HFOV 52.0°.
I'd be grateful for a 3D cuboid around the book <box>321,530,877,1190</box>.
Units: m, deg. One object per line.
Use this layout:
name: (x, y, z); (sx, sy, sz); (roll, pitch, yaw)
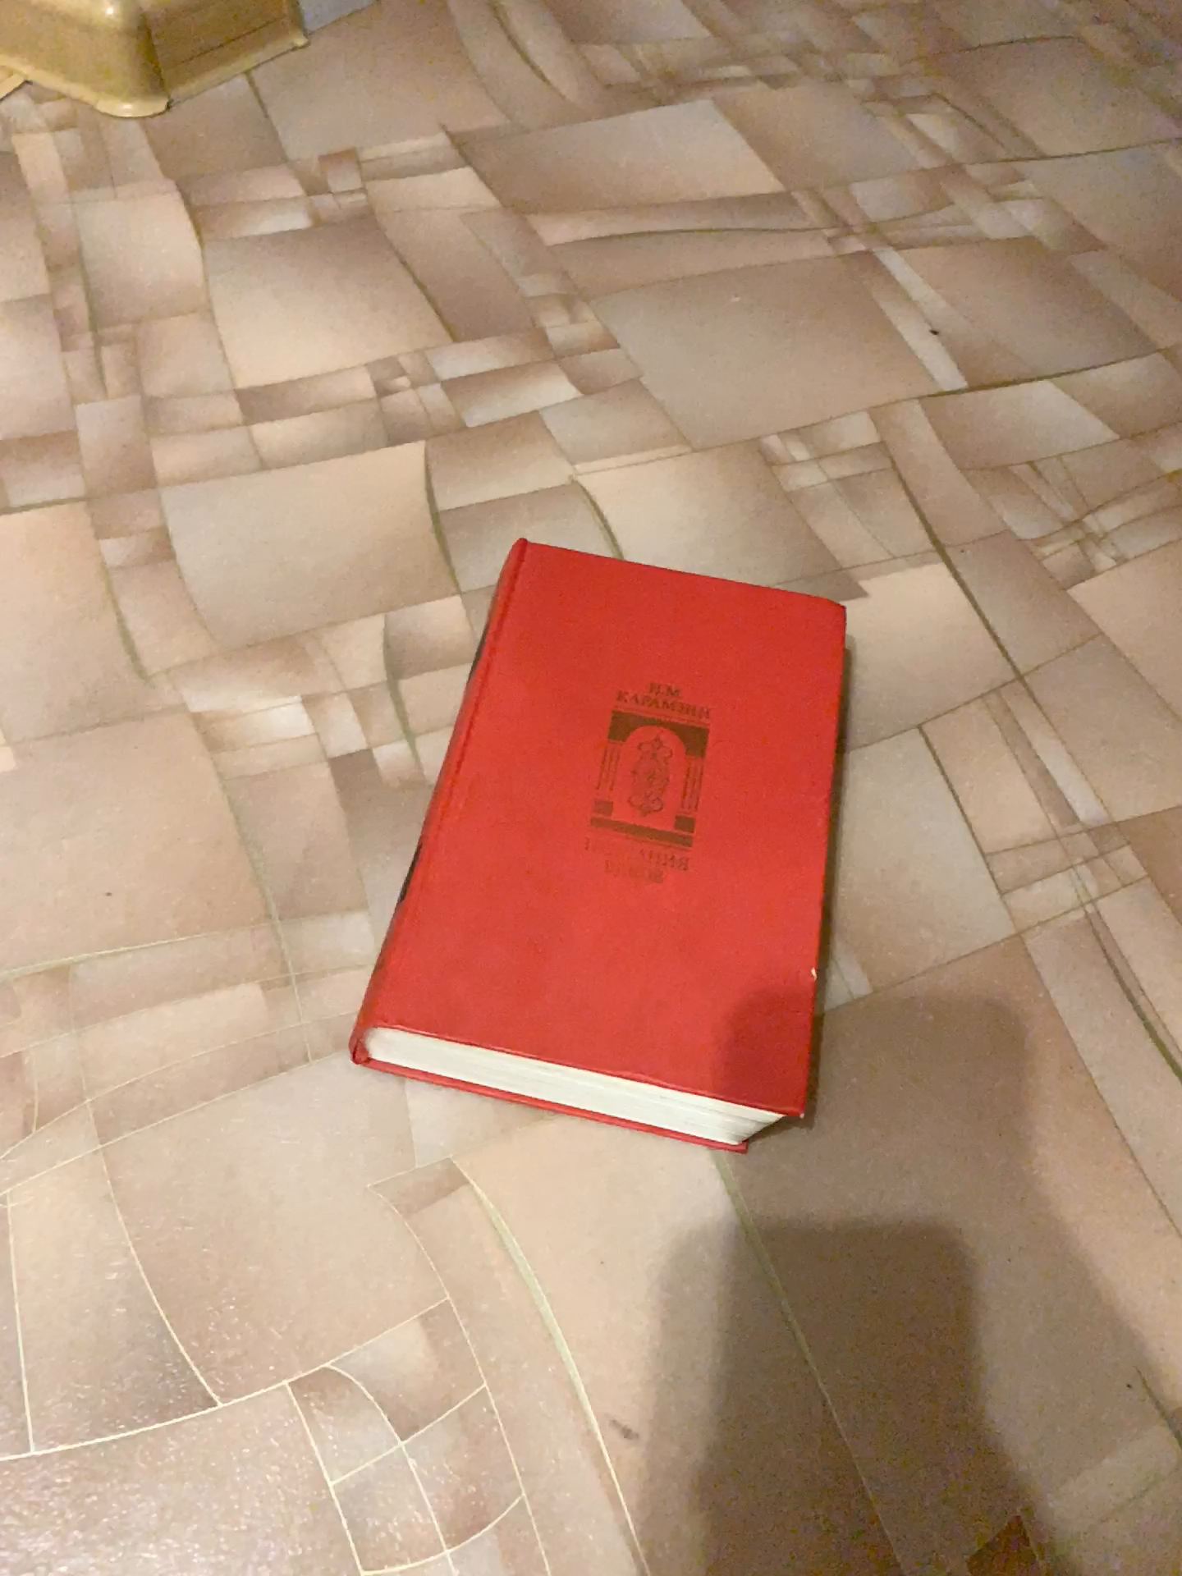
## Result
book: (0.013, 0.014, 0.410); (0.140, 0.050, 0.201); (11, 57, 5)
